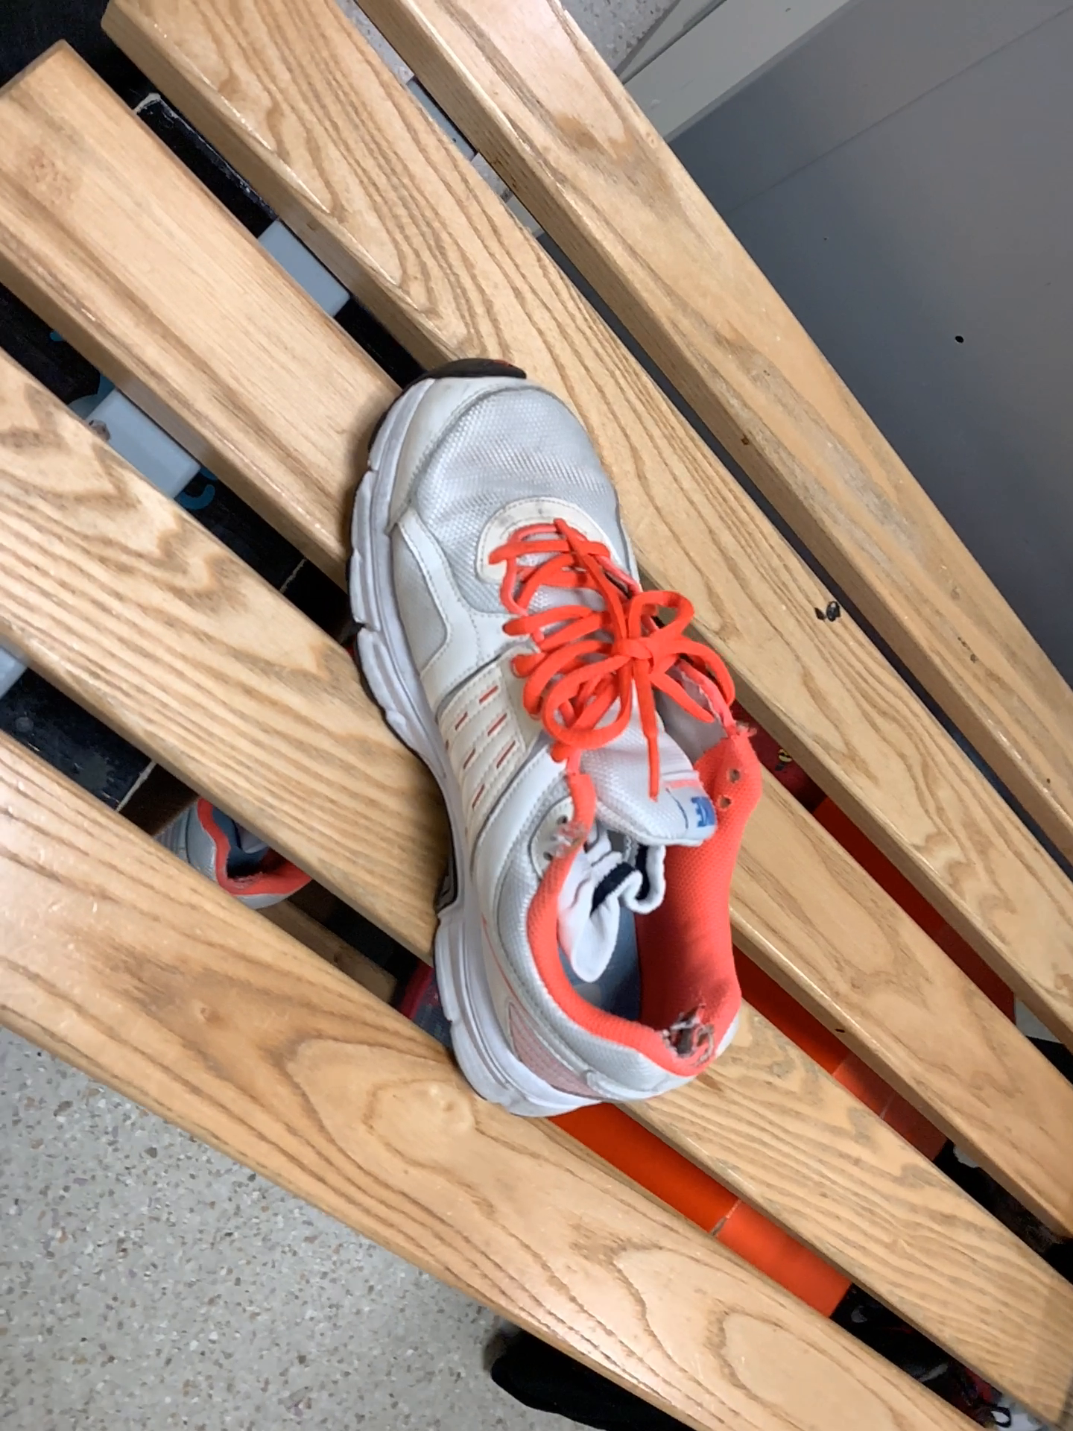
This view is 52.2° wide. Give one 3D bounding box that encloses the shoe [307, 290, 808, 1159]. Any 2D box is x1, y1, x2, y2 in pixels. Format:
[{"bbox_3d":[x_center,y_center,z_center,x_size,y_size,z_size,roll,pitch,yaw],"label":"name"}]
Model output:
[{"bbox_3d":[0.007,-0.001,0.364,0.111,0.079,0.241,-9,92,-34],"label":"shoe"}]
